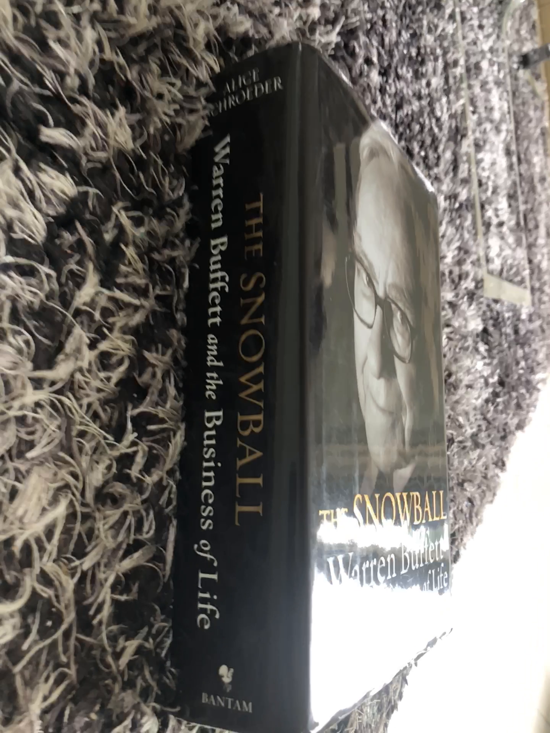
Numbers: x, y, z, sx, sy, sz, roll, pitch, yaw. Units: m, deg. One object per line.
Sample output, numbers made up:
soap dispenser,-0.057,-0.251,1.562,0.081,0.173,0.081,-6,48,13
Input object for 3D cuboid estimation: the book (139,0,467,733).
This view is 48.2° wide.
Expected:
book,0.029,0.009,0.279,0.181,0.060,0.250,17,70,-58
